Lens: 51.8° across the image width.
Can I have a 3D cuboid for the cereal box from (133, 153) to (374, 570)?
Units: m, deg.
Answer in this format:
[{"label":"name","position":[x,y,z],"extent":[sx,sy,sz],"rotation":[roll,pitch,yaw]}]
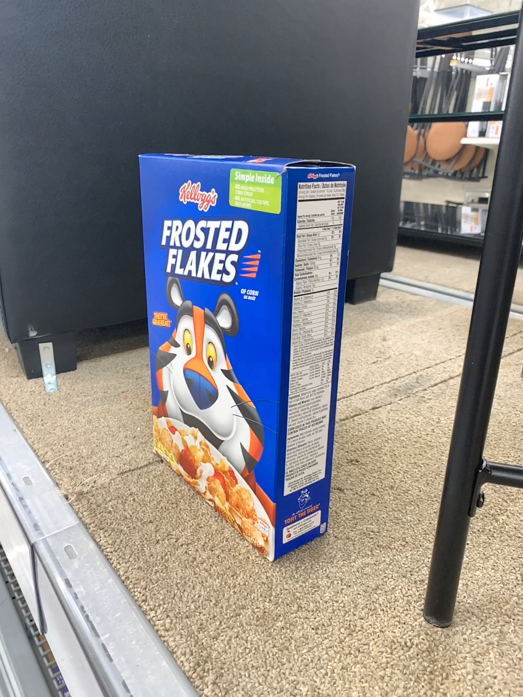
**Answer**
[{"label":"cereal box","position":[-0.021,-0.008,0.451],"extent":[0.070,0.289,0.211],"rotation":[-14,25,-34]}]
